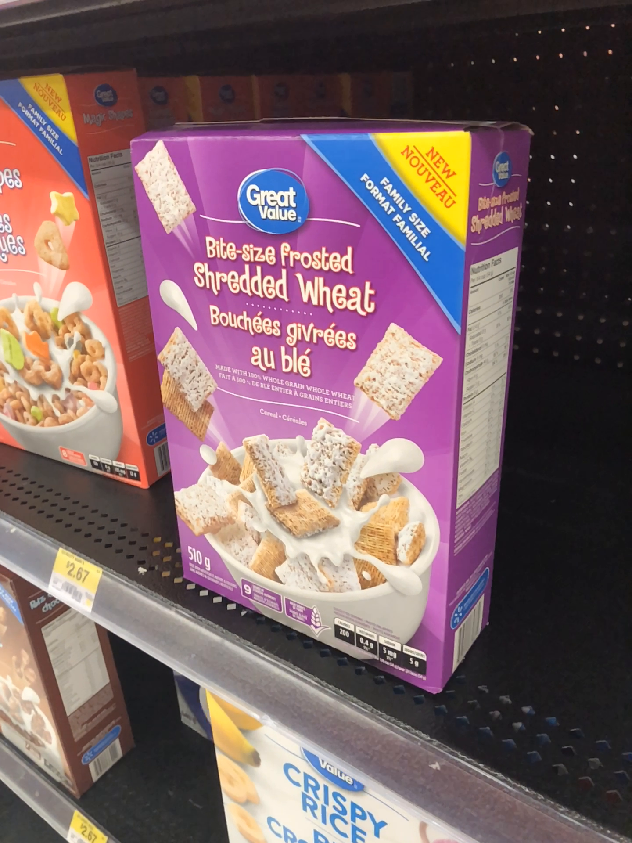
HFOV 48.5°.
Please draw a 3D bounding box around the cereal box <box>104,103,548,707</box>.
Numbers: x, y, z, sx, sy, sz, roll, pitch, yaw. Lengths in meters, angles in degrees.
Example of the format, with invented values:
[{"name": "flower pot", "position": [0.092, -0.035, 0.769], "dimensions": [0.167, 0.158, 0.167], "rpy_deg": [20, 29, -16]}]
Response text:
[{"name": "cereal box", "position": [-0.002, -0.018, 0.387], "dimensions": [0.210, 0.279, 0.070], "rpy_deg": [15, 28, 34]}]
